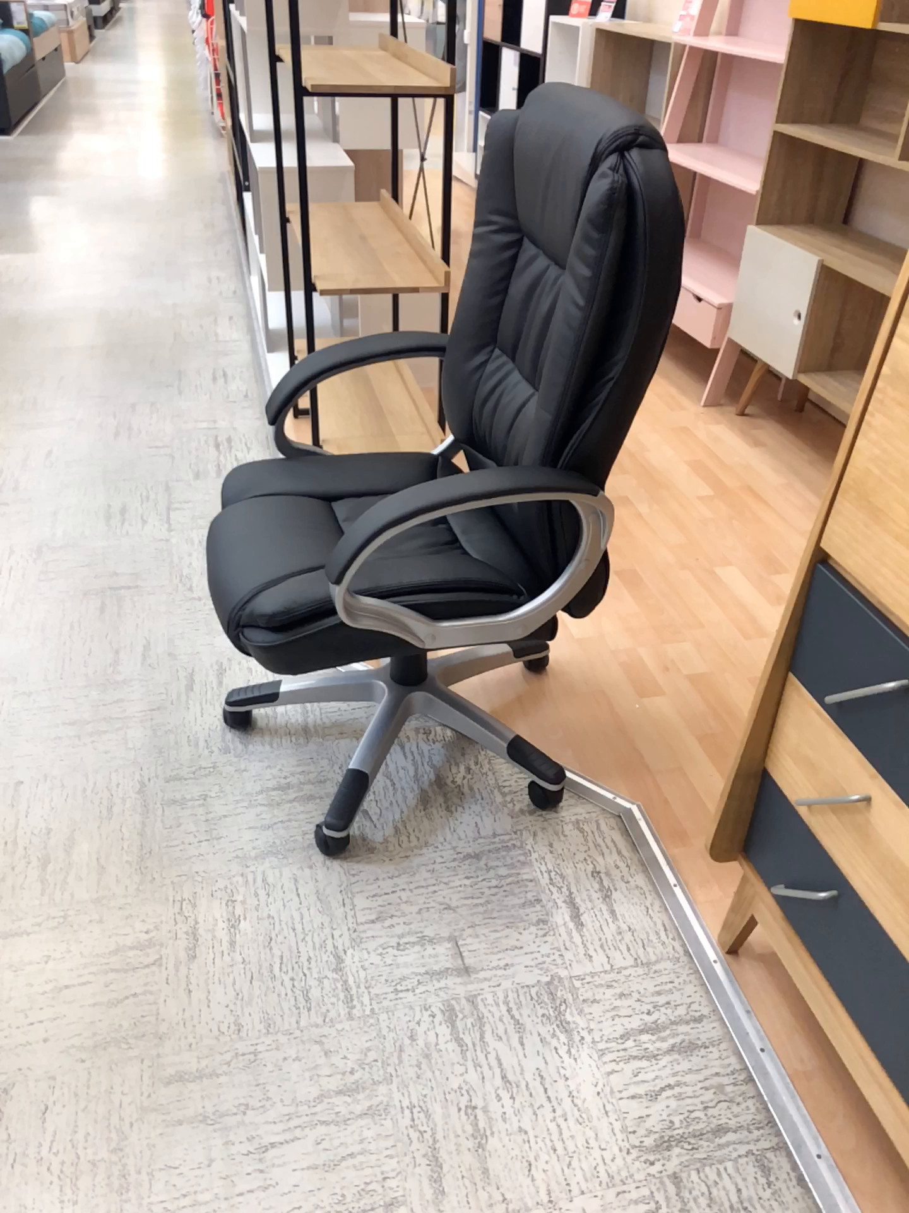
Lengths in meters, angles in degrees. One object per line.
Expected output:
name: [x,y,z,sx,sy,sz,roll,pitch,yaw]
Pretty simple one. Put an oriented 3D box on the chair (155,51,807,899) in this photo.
chair: [-0.069,-0.257,1.603,0.681,1.064,0.763,-5,30,-17]
